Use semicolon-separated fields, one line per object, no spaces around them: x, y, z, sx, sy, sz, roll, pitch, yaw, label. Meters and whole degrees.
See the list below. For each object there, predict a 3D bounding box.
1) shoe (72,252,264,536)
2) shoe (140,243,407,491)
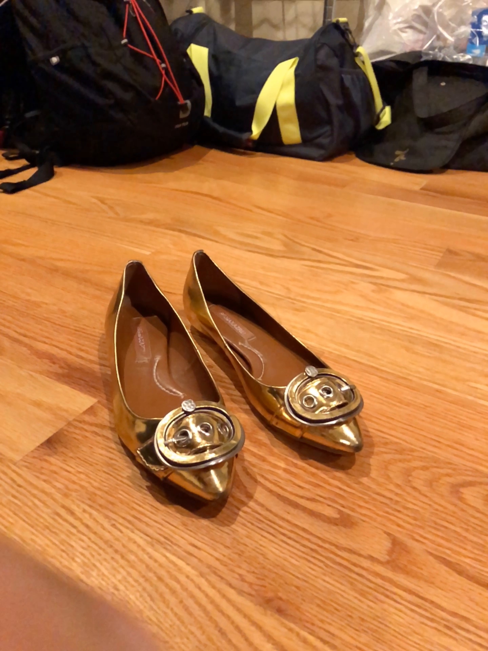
-0.072;0.027;0.409;0.077;0.066;0.250;-10;33;-20;shoe
0.006;0.013;0.438;0.083;0.066;0.245;-17;36;-29;shoe
